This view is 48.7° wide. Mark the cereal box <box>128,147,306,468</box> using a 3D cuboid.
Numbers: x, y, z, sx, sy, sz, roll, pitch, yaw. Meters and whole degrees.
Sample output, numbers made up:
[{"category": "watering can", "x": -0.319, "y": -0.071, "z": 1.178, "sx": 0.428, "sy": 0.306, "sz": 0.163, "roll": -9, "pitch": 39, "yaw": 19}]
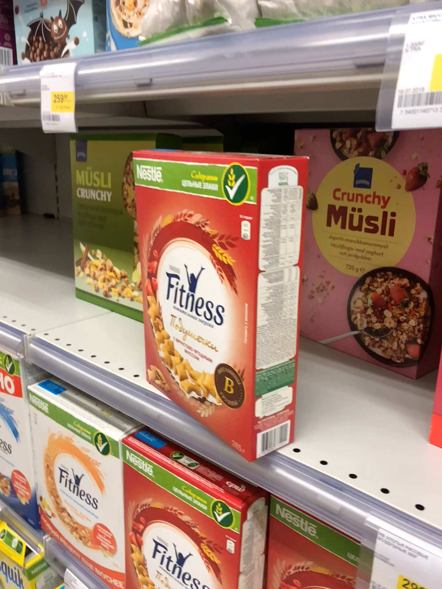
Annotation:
[{"category": "cereal box", "x": -0.012, "y": -0.004, "z": 0.433, "sx": 0.050, "sy": 0.239, "sz": 0.180, "roll": -13, "pitch": 21, "yaw": -34}]
